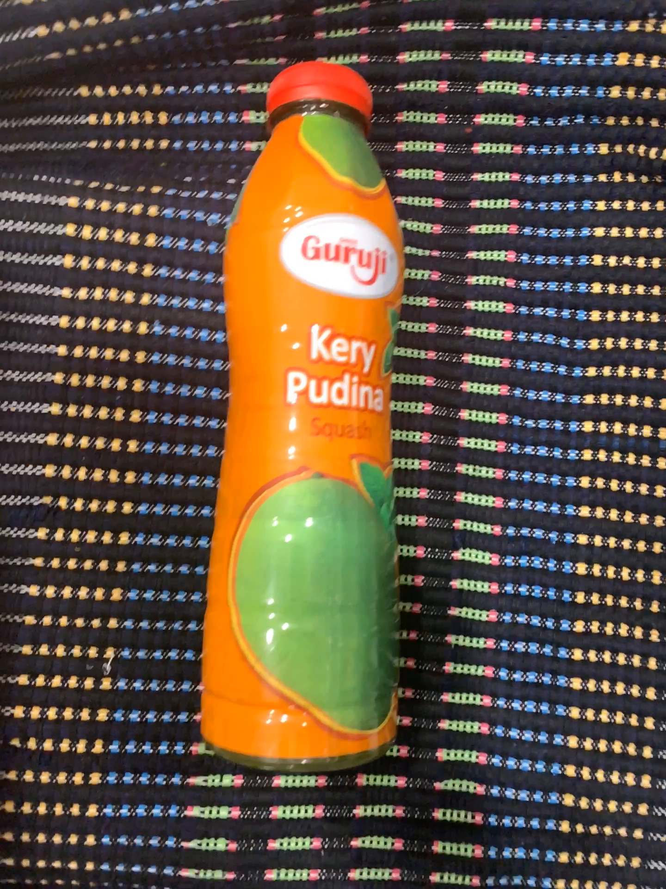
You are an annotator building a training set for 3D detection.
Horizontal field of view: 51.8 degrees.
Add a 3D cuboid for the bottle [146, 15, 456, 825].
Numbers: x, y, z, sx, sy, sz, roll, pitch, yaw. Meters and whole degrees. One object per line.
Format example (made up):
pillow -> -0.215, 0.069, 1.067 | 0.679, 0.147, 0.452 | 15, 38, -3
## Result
bottle -> -0.007, -0.009, 0.242 | 0.070, 0.070, 0.230 | 10, 80, -50
